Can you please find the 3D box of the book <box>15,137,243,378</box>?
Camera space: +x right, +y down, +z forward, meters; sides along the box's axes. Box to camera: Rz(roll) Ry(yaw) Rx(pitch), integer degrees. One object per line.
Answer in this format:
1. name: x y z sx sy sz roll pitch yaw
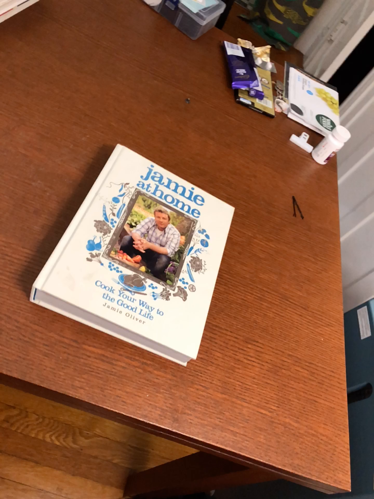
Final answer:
1. book: -0.050 -0.005 0.526 0.210 0.040 0.261 27 50 -10
